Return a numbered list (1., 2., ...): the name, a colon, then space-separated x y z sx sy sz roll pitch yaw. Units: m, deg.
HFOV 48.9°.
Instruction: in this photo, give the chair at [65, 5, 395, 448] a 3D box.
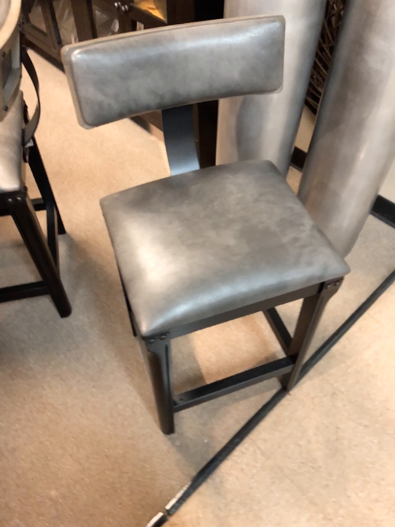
1. chair: 0.050 -0.007 1.001 0.440 0.865 0.462 -16 54 -14
